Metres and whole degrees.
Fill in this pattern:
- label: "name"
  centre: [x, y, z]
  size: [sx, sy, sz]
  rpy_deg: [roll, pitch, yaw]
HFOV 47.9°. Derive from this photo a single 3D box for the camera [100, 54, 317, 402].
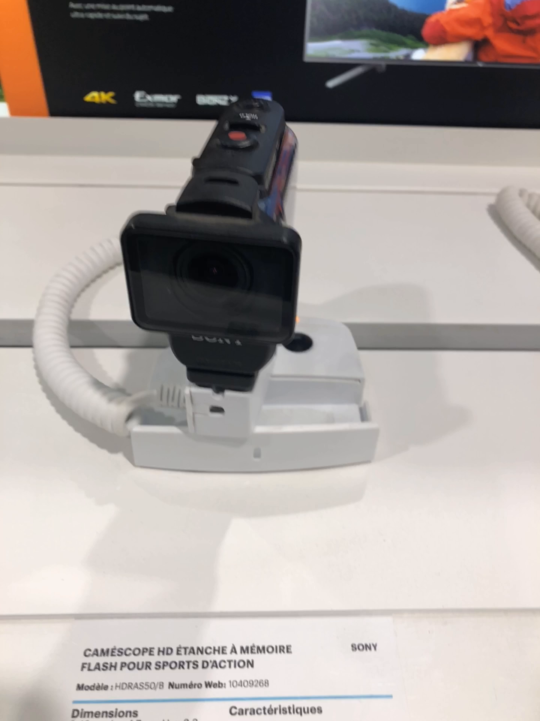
- label: "camera"
  centre: [-0.013, -0.043, 0.192]
  size: [0.045, 0.064, 0.088]
  rpy_deg: [5, 51, 3]
